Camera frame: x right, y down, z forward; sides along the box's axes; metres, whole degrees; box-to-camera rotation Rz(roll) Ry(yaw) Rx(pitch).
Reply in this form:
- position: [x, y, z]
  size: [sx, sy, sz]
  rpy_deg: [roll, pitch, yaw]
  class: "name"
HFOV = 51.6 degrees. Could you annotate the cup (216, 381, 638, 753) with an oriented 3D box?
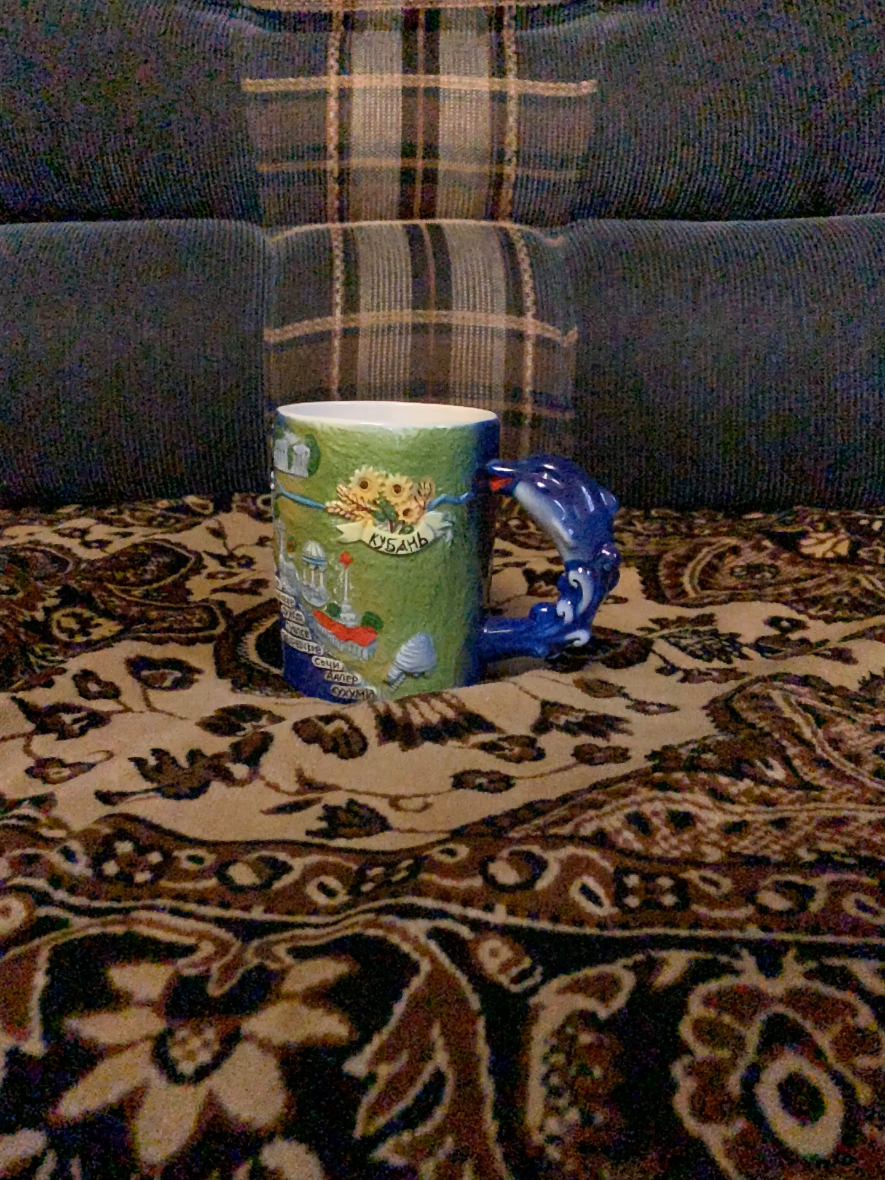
- position: [-0.002, -0.018, 0.341]
  size: [0.127, 0.106, 0.090]
  rpy_deg: [7, 17, 18]
  class: "cup"
